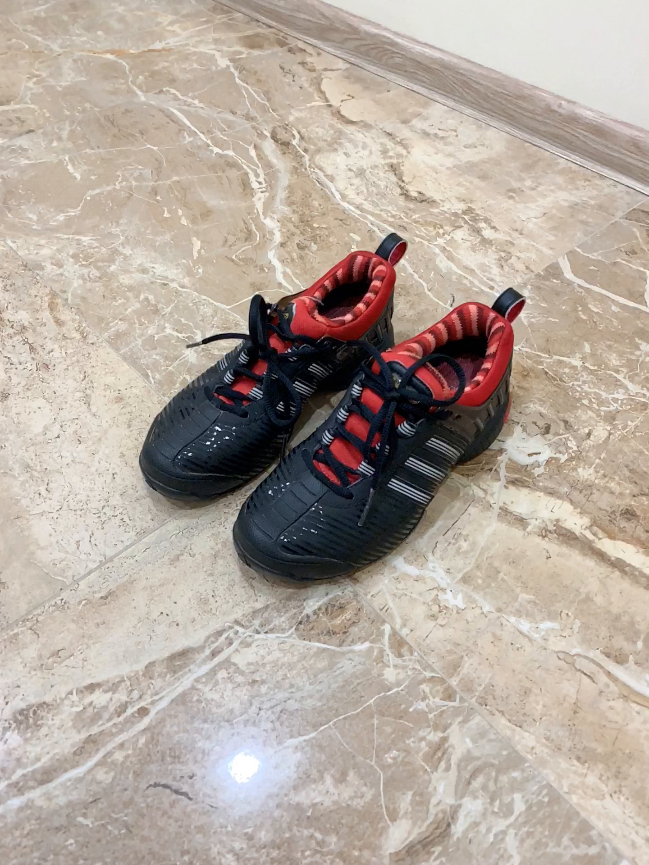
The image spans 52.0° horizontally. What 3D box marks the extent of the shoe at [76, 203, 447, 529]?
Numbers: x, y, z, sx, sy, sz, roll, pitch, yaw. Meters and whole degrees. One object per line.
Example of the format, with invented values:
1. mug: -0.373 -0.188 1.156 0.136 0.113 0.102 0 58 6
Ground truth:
1. shoe: -0.033 -0.063 0.504 0.095 0.090 0.271 36 58 26

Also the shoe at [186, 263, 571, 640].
1. shoe: 0.047 -0.001 0.461 0.095 0.090 0.271 36 58 26
